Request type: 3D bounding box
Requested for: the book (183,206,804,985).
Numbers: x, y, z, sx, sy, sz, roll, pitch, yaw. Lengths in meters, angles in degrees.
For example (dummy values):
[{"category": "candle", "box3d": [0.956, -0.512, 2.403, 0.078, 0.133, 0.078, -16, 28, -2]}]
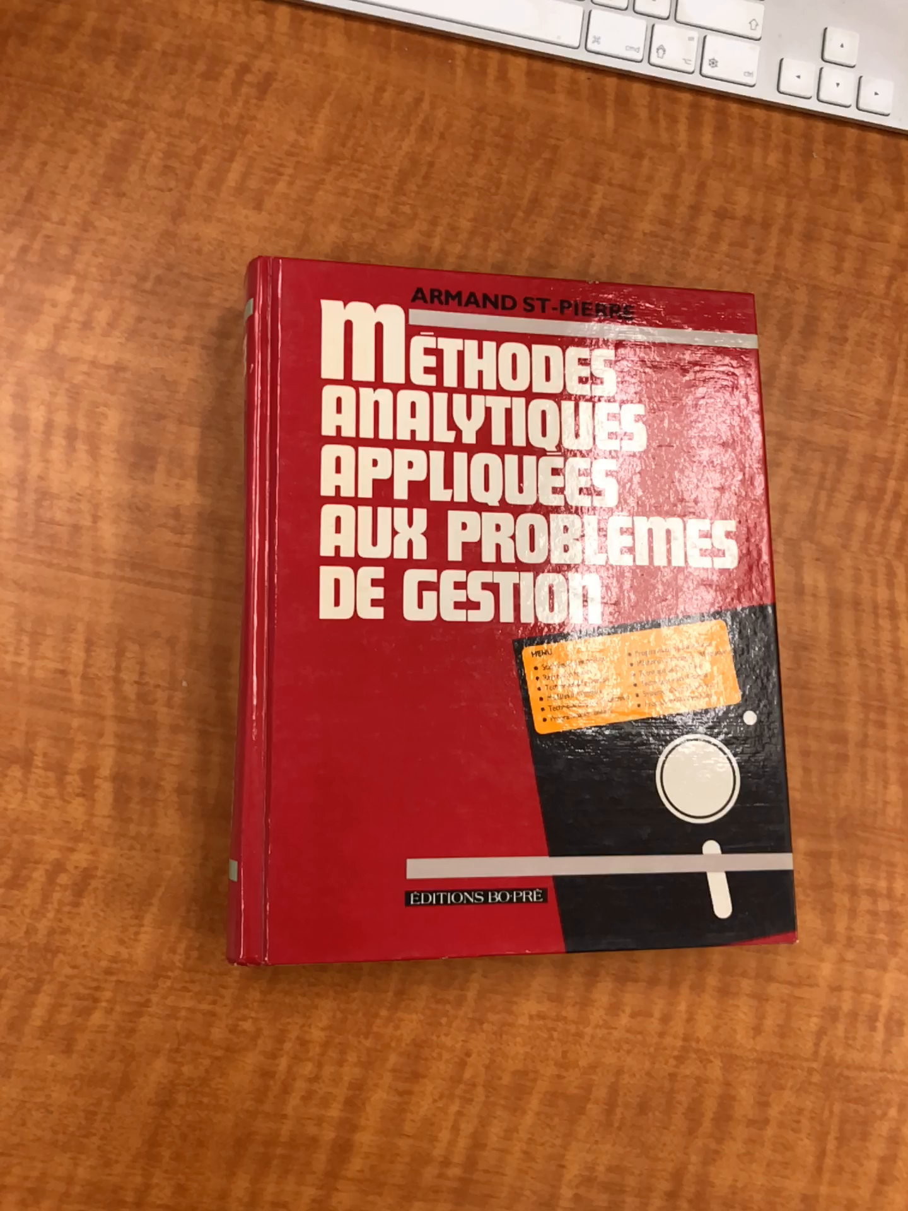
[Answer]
[{"category": "book", "box3d": [0.013, -0.005, 0.361, 0.200, 0.050, 0.250, 1, 81, -10]}]
